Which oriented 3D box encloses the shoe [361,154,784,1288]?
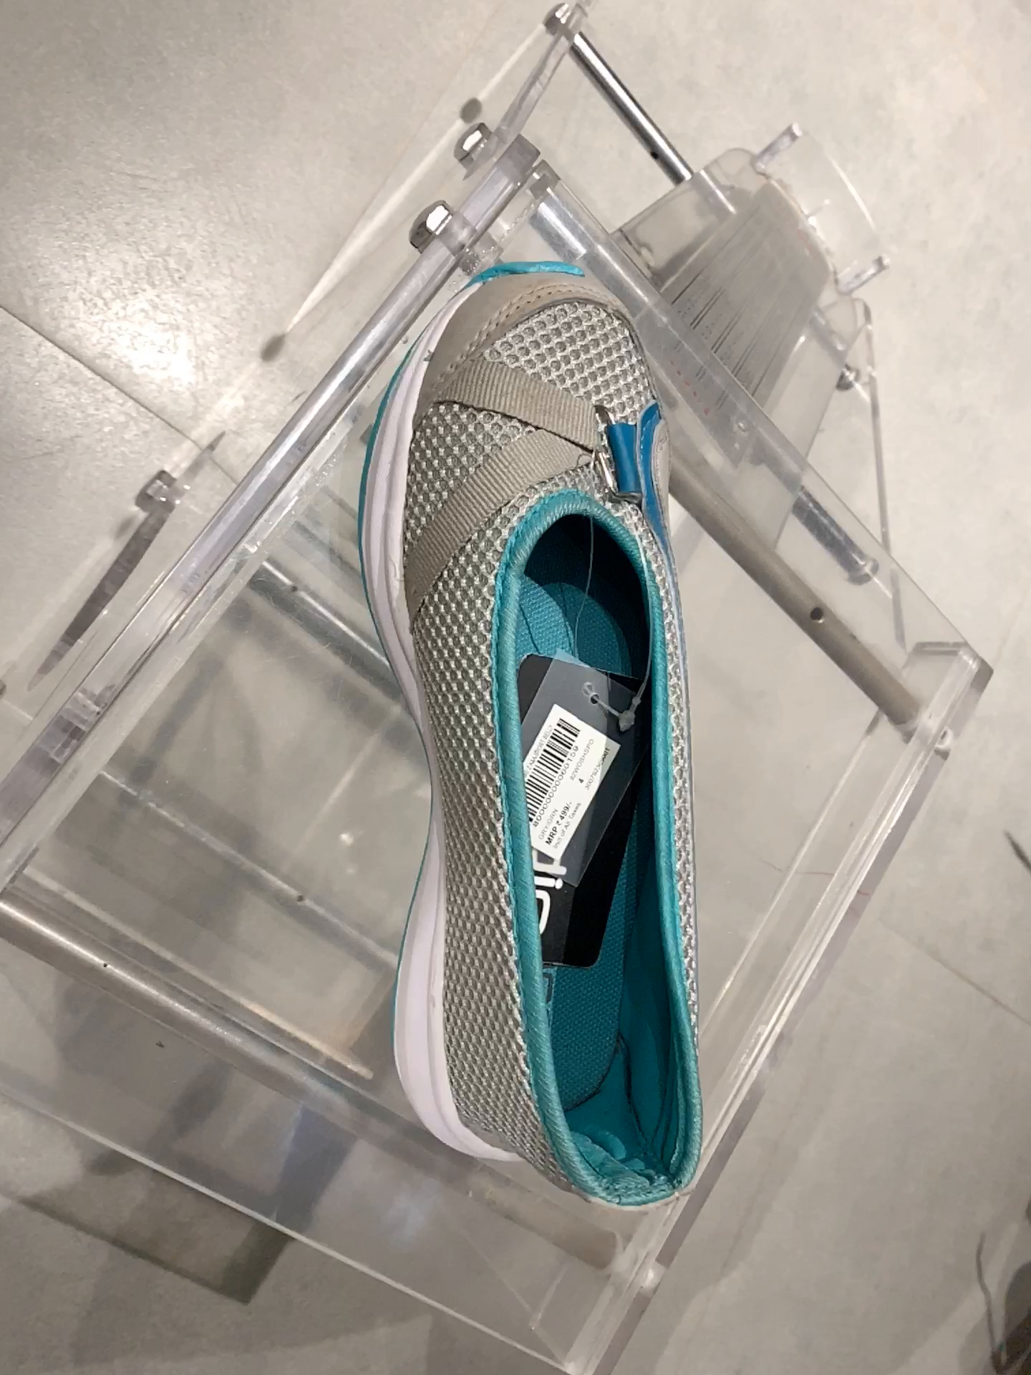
[{"bbox_3d":[0.015,0.009,0.308,0.090,0.080,0.270,-3,95,-29],"label":"shoe"}]
